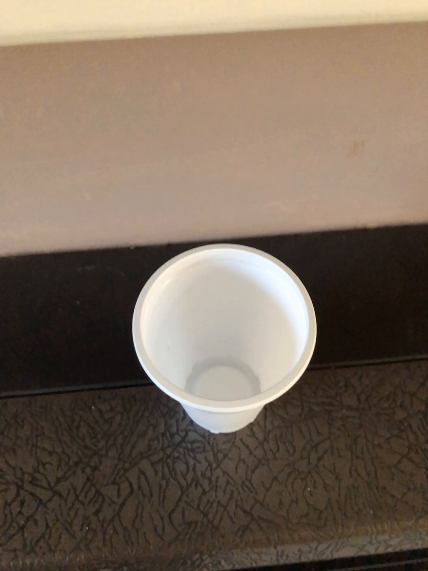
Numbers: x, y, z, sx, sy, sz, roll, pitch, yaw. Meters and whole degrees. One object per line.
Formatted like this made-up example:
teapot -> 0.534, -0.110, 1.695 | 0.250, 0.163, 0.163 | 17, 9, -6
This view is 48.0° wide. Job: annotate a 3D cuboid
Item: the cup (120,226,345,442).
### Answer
cup -> 0.006, 0.025, 0.219 | 0.079, 0.073, 0.073 | -1, 60, 1
